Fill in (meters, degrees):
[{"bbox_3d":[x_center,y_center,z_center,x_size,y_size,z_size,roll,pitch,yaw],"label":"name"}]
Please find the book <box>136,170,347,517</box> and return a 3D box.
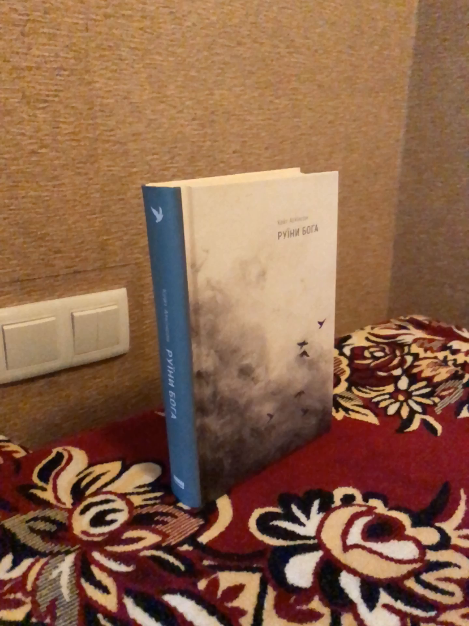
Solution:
[{"bbox_3d":[0.014,0.011,0.368,0.150,0.210,0.040,-16,22,-39],"label":"book"}]
